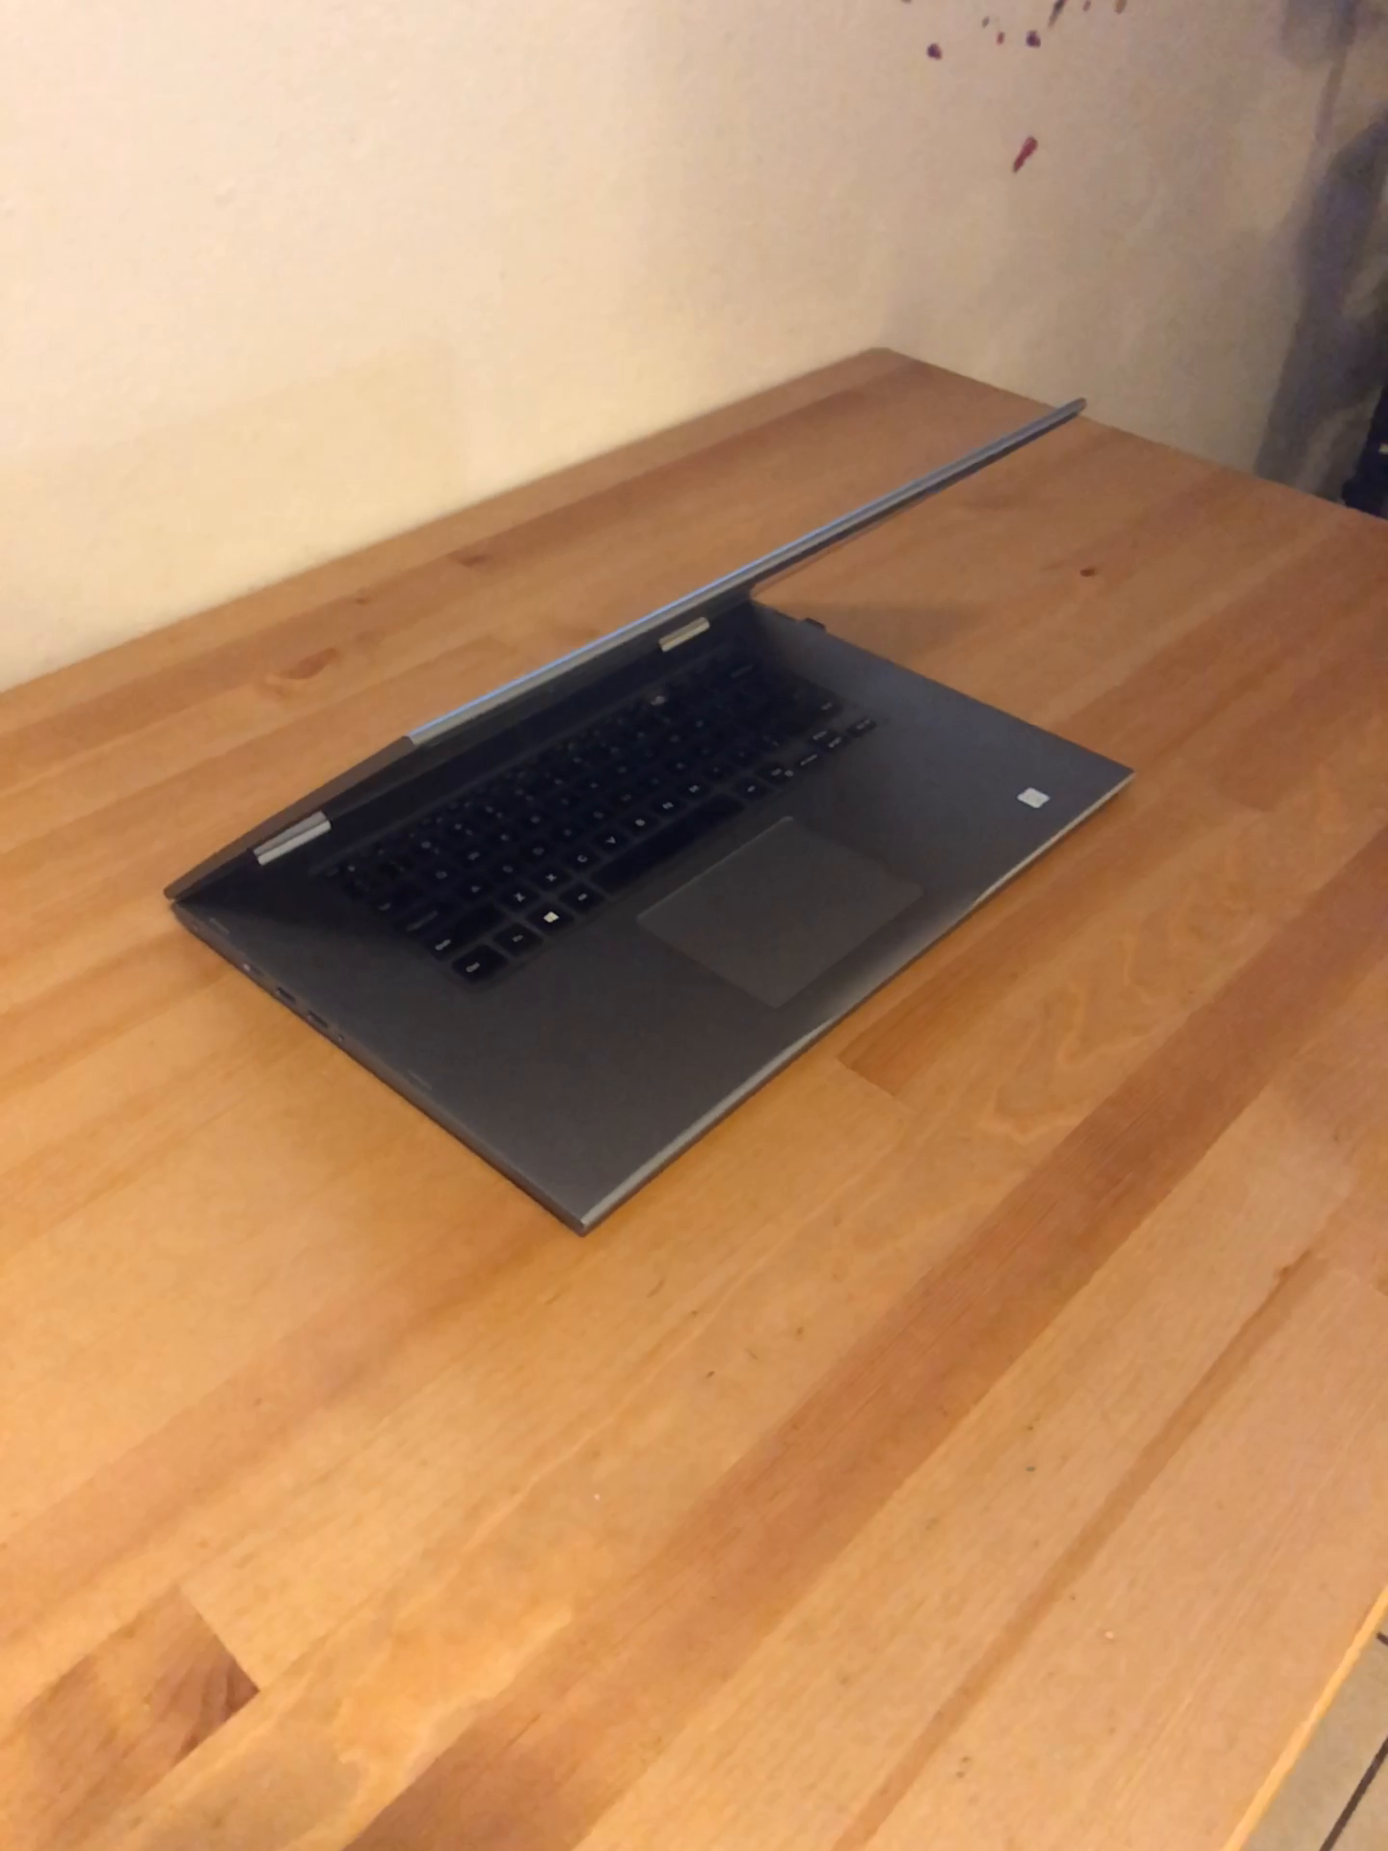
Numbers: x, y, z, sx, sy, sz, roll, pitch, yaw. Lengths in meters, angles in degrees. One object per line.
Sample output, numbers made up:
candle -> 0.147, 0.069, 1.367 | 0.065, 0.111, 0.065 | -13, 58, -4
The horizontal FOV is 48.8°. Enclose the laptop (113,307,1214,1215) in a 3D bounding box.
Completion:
laptop -> 0.002, -0.106, 0.656 | 0.247, 0.165, 0.376 | 31, 48, 30
